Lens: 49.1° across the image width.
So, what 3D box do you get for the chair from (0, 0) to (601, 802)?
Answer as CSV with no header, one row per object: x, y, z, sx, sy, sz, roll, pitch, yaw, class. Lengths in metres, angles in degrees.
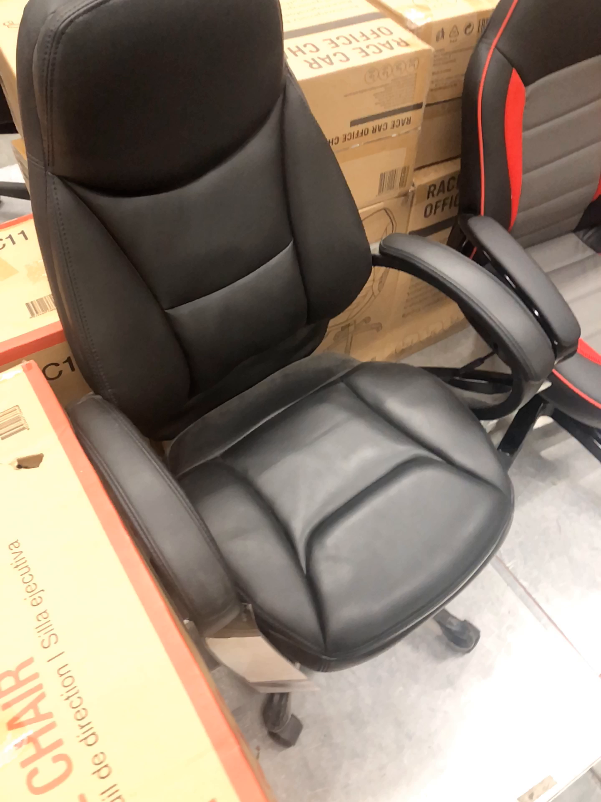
0.032,0.015,1.028,0.722,1.064,0.742,-34,60,-25,chair
